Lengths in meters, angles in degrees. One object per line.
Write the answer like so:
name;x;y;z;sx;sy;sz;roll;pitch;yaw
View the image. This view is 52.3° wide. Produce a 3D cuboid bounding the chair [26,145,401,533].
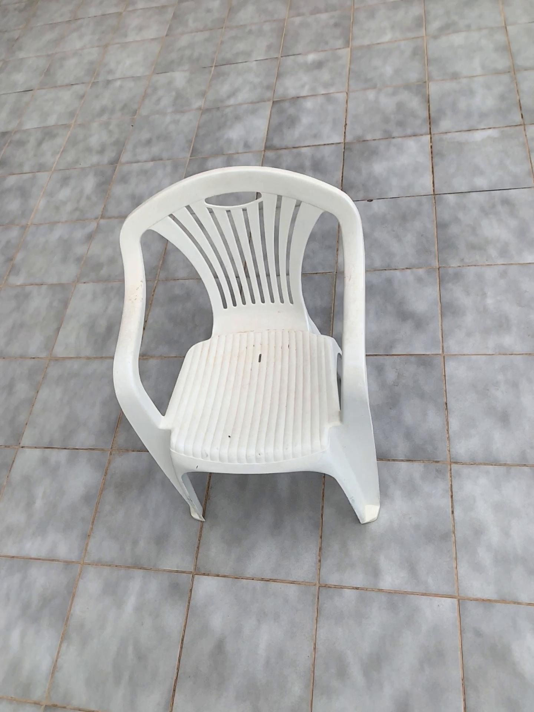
chair;-0.022;0.028;1.221;0.571;0.667;0.562;-4;58;11
